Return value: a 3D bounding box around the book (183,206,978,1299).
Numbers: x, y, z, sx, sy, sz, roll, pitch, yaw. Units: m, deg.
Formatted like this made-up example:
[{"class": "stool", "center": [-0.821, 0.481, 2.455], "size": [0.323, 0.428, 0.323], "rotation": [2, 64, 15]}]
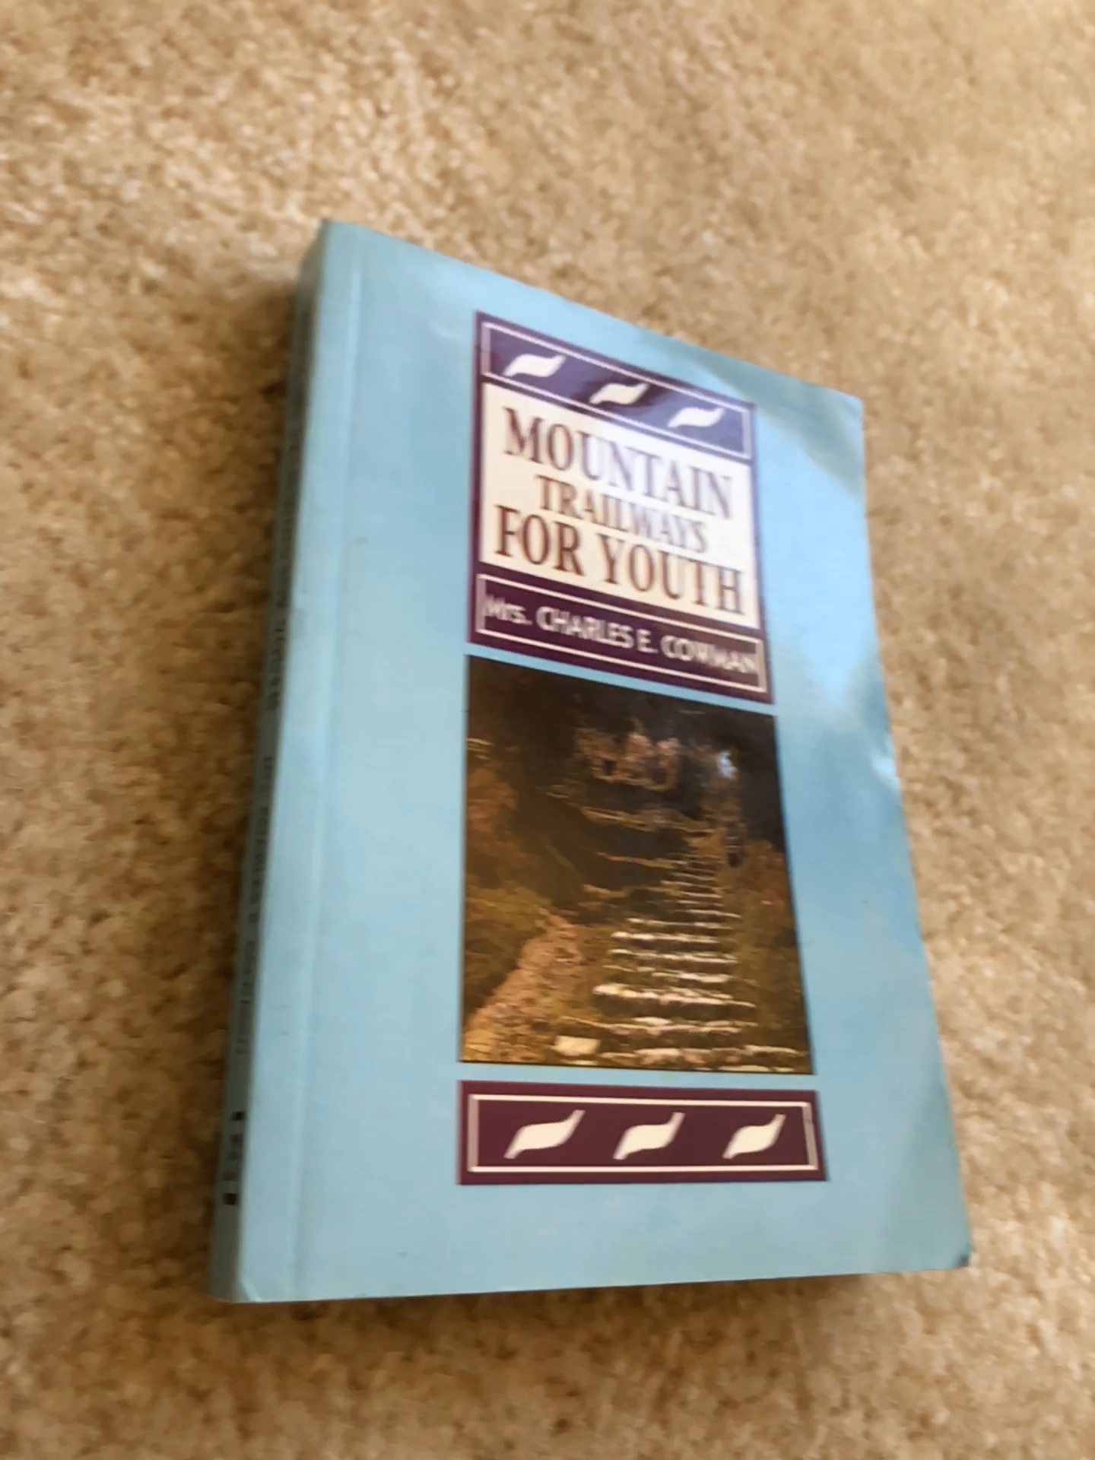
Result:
[{"class": "book", "center": [0.010, 0.004, 0.218], "size": [0.122, 0.030, 0.170], "rotation": [9, 68, -23]}]
